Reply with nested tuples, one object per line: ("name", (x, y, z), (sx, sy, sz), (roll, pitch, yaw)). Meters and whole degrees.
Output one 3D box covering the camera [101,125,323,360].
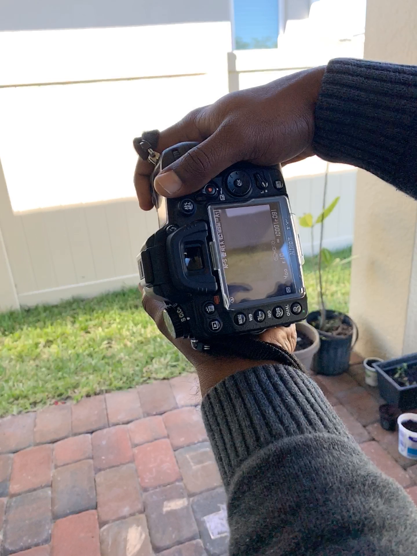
("camera", (-0.015, -0.020, 0.307), (0.090, 0.110, 0.170), (-11, 2, -18))
